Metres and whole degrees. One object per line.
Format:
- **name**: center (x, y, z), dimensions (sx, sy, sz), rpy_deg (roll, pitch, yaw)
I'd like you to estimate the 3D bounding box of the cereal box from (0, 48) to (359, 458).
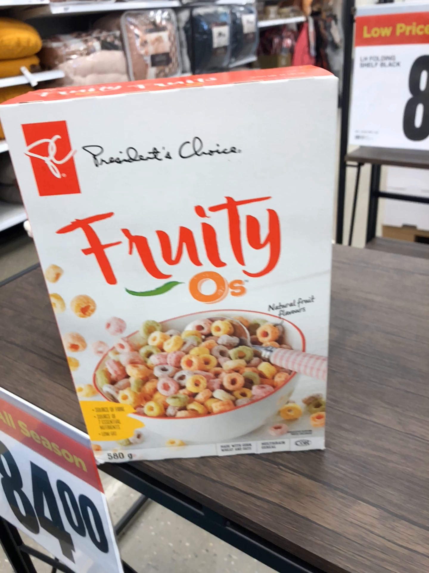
- **cereal box**: center (-0.022, -0.010, 0.357), dimensions (0.220, 0.279, 0.080), rpy_deg (-4, 29, 2)
